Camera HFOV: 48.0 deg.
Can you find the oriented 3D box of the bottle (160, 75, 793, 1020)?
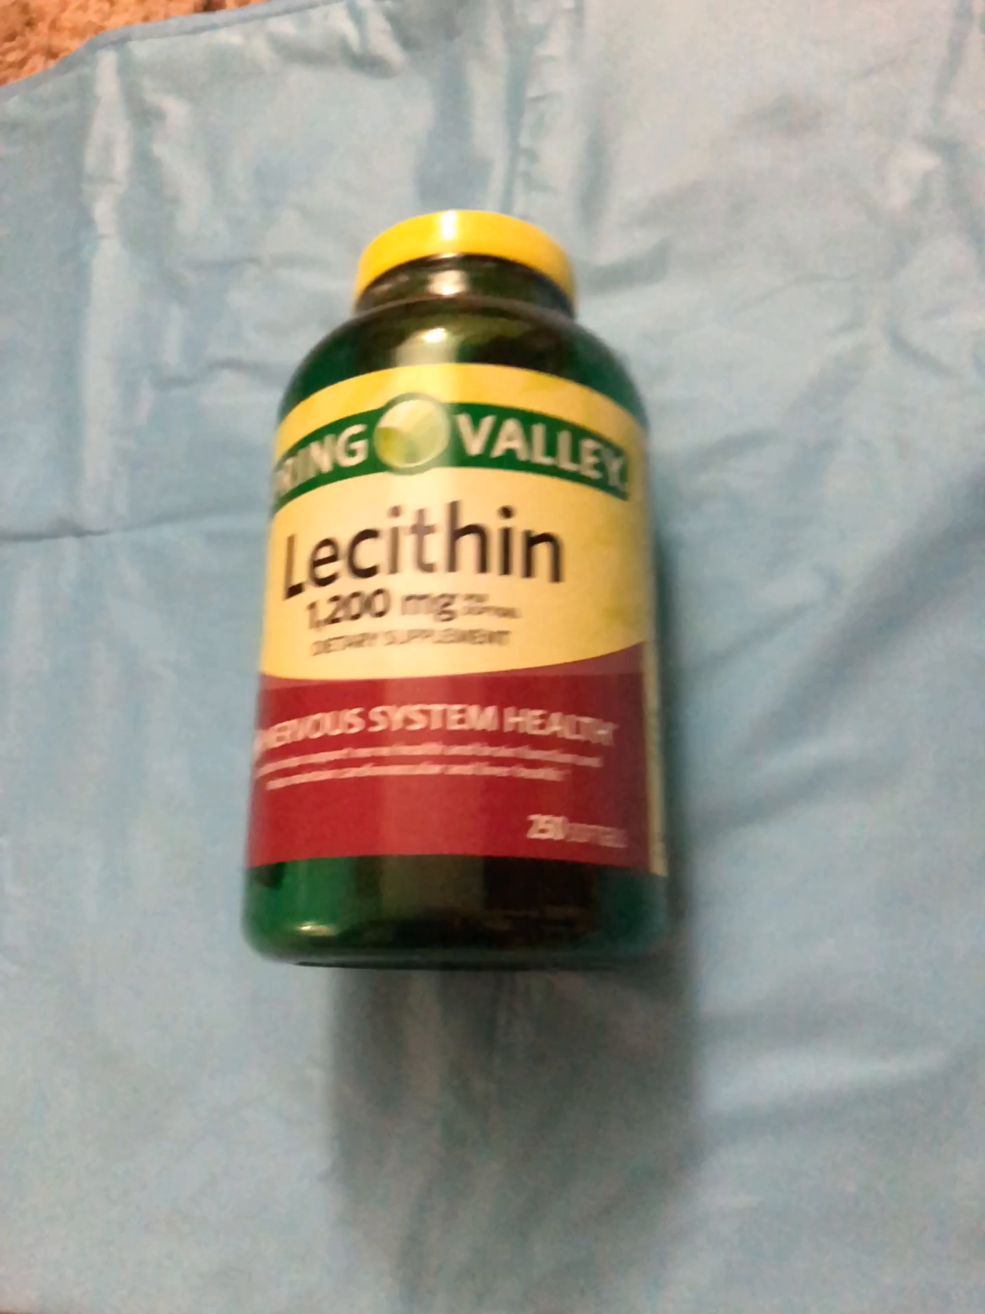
[{"bbox_3d":[0.005,-0.012,0.243,0.100,0.090,0.170,-5,73,20],"label":"bottle"}]
